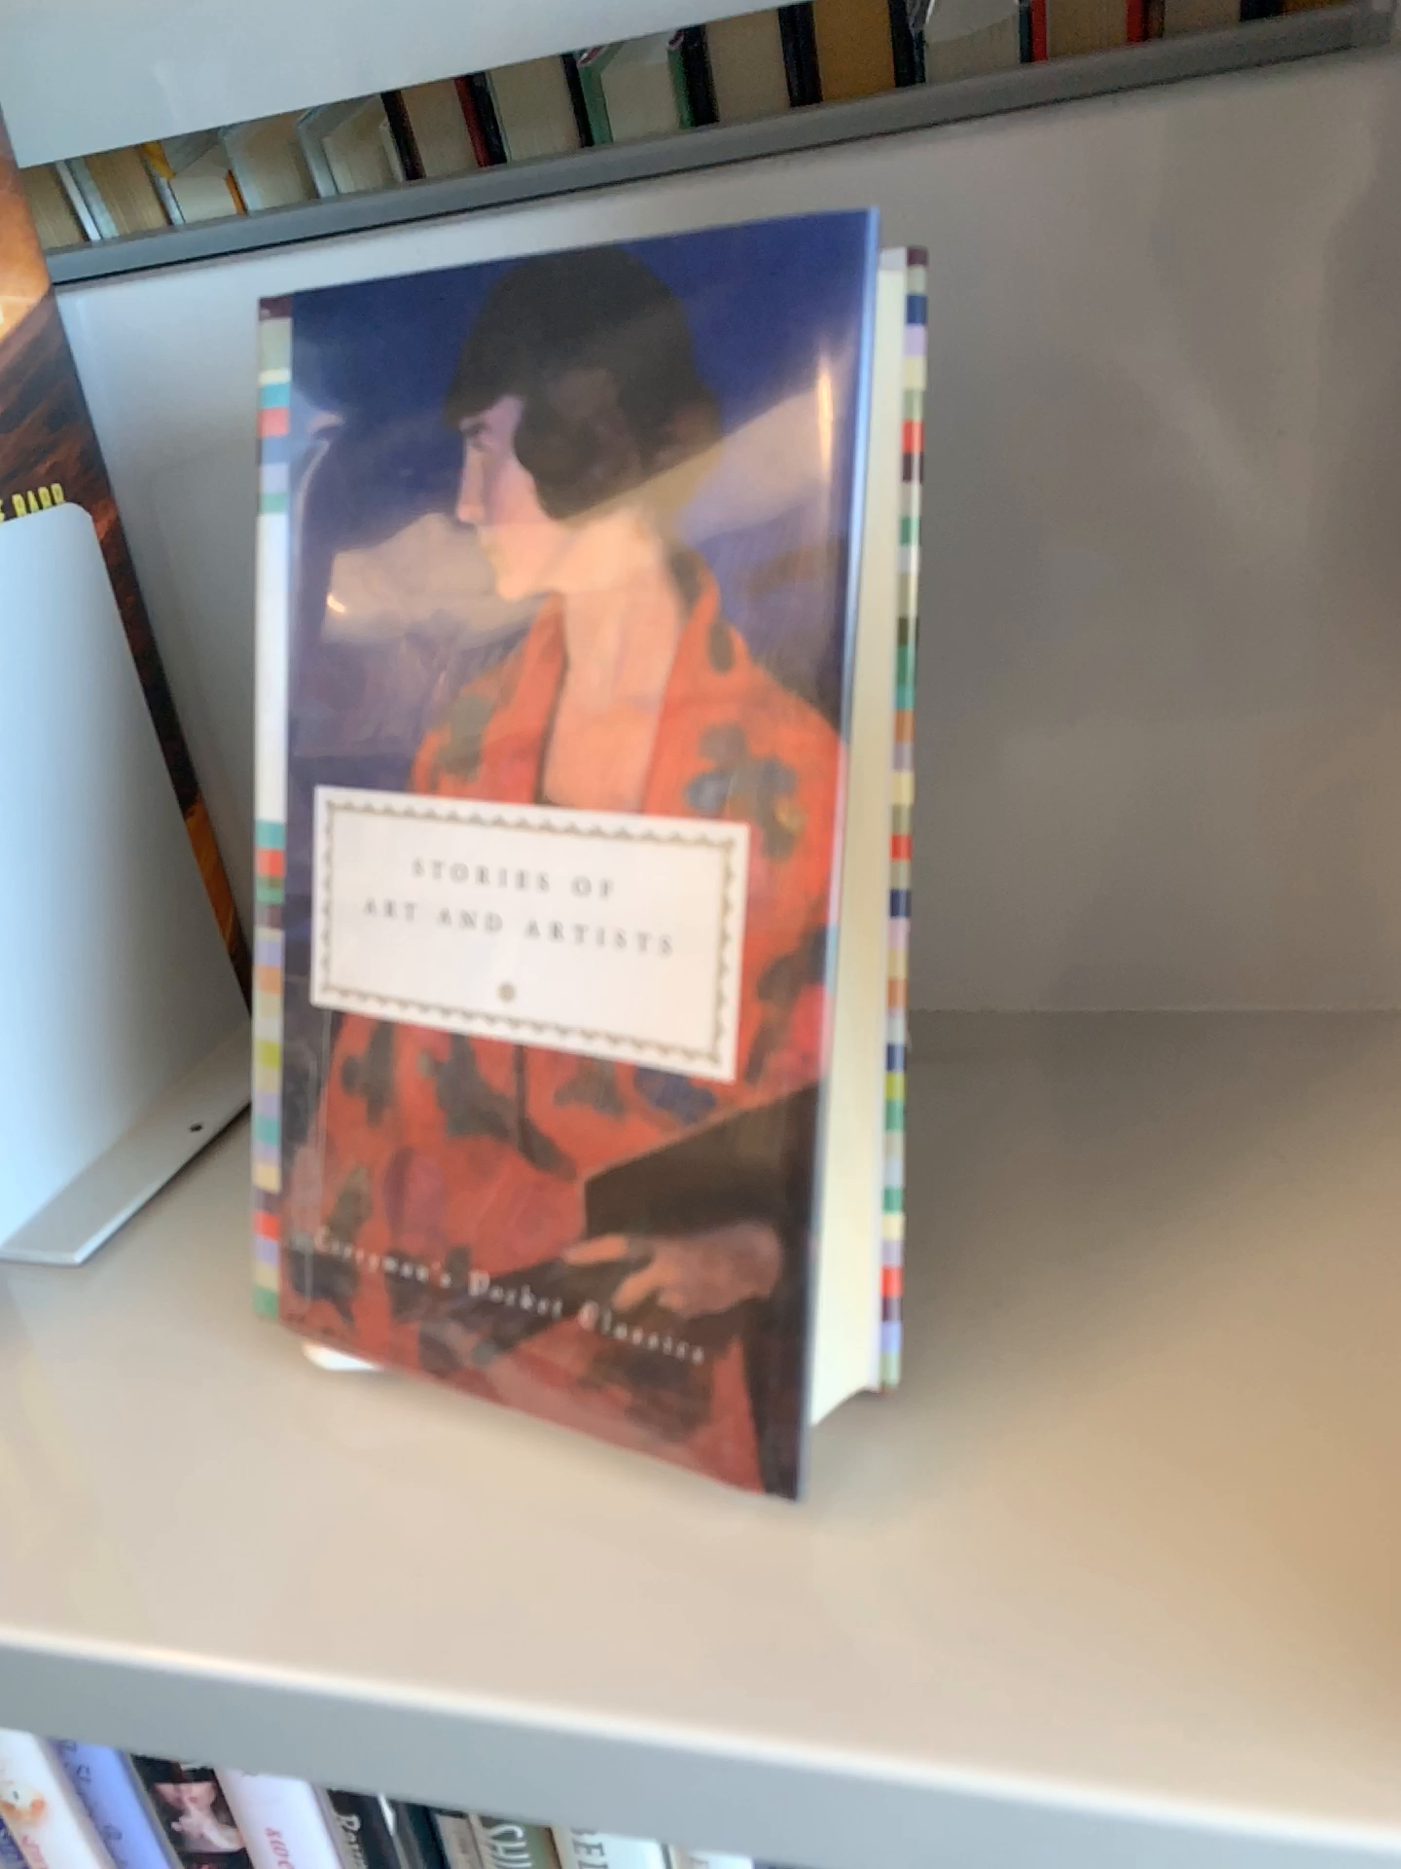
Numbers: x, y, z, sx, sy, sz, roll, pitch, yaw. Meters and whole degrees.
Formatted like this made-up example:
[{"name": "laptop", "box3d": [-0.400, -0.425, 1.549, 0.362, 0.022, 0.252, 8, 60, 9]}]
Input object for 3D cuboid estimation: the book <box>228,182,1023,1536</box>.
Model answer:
[{"name": "book", "box3d": [-0.021, -0.014, 0.248, 0.129, 0.187, 0.040, 8, 10, 30]}]
